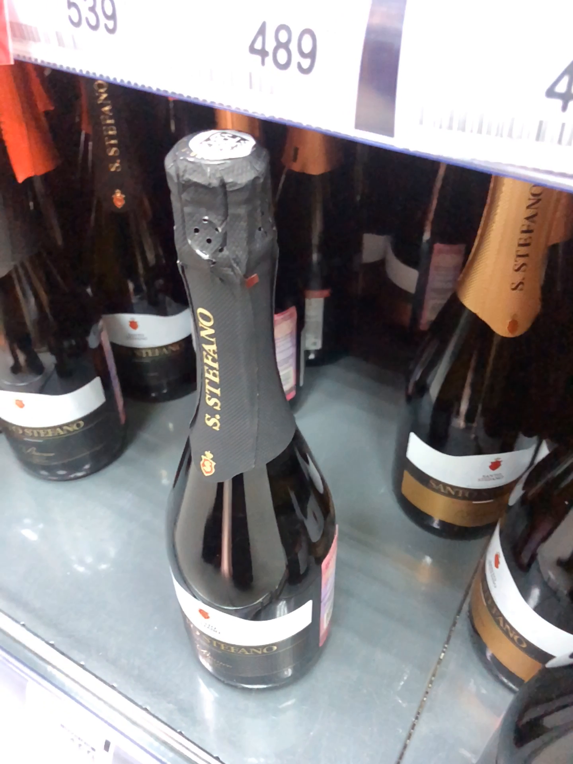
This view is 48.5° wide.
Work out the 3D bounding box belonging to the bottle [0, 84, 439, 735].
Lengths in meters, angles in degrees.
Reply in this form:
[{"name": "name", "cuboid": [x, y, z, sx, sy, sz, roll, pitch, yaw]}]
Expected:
[{"name": "bottle", "cuboid": [-0.016, 0.037, 0.289, 0.100, 0.288, 0.090, 20, 45, 21]}]
